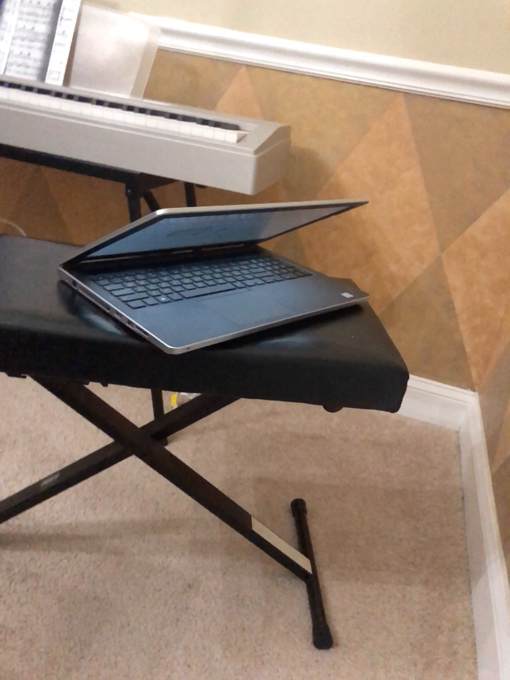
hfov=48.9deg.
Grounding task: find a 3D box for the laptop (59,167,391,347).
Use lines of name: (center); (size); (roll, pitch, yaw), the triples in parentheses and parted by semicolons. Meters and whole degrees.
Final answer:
laptop: (-0.037, -0.146, 0.802); (0.376, 0.136, 0.262); (-16, 37, -42)
